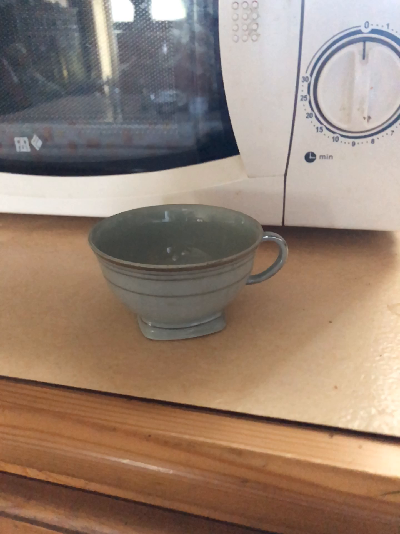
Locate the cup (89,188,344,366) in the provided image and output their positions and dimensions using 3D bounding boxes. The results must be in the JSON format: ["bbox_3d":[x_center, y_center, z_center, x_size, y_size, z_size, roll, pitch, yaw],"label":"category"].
[{"bbox_3d":[0.002,-0.002,0.217,0.100,0.040,0.080,-8,27,-13],"label":"cup"}]
